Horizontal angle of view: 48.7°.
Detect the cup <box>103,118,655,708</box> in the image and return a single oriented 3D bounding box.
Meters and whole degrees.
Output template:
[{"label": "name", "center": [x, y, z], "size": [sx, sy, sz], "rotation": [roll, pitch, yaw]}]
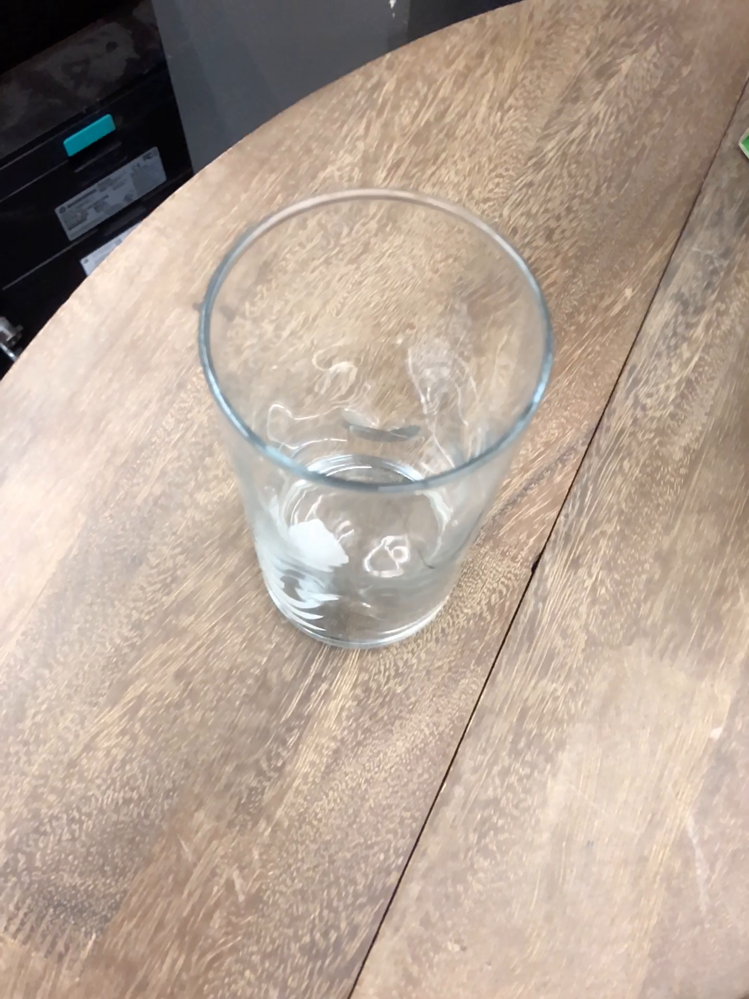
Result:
[{"label": "cup", "center": [-0.002, -0.008, 0.235], "size": [0.081, 0.144, 0.078], "rotation": [1, 68, -2]}]
